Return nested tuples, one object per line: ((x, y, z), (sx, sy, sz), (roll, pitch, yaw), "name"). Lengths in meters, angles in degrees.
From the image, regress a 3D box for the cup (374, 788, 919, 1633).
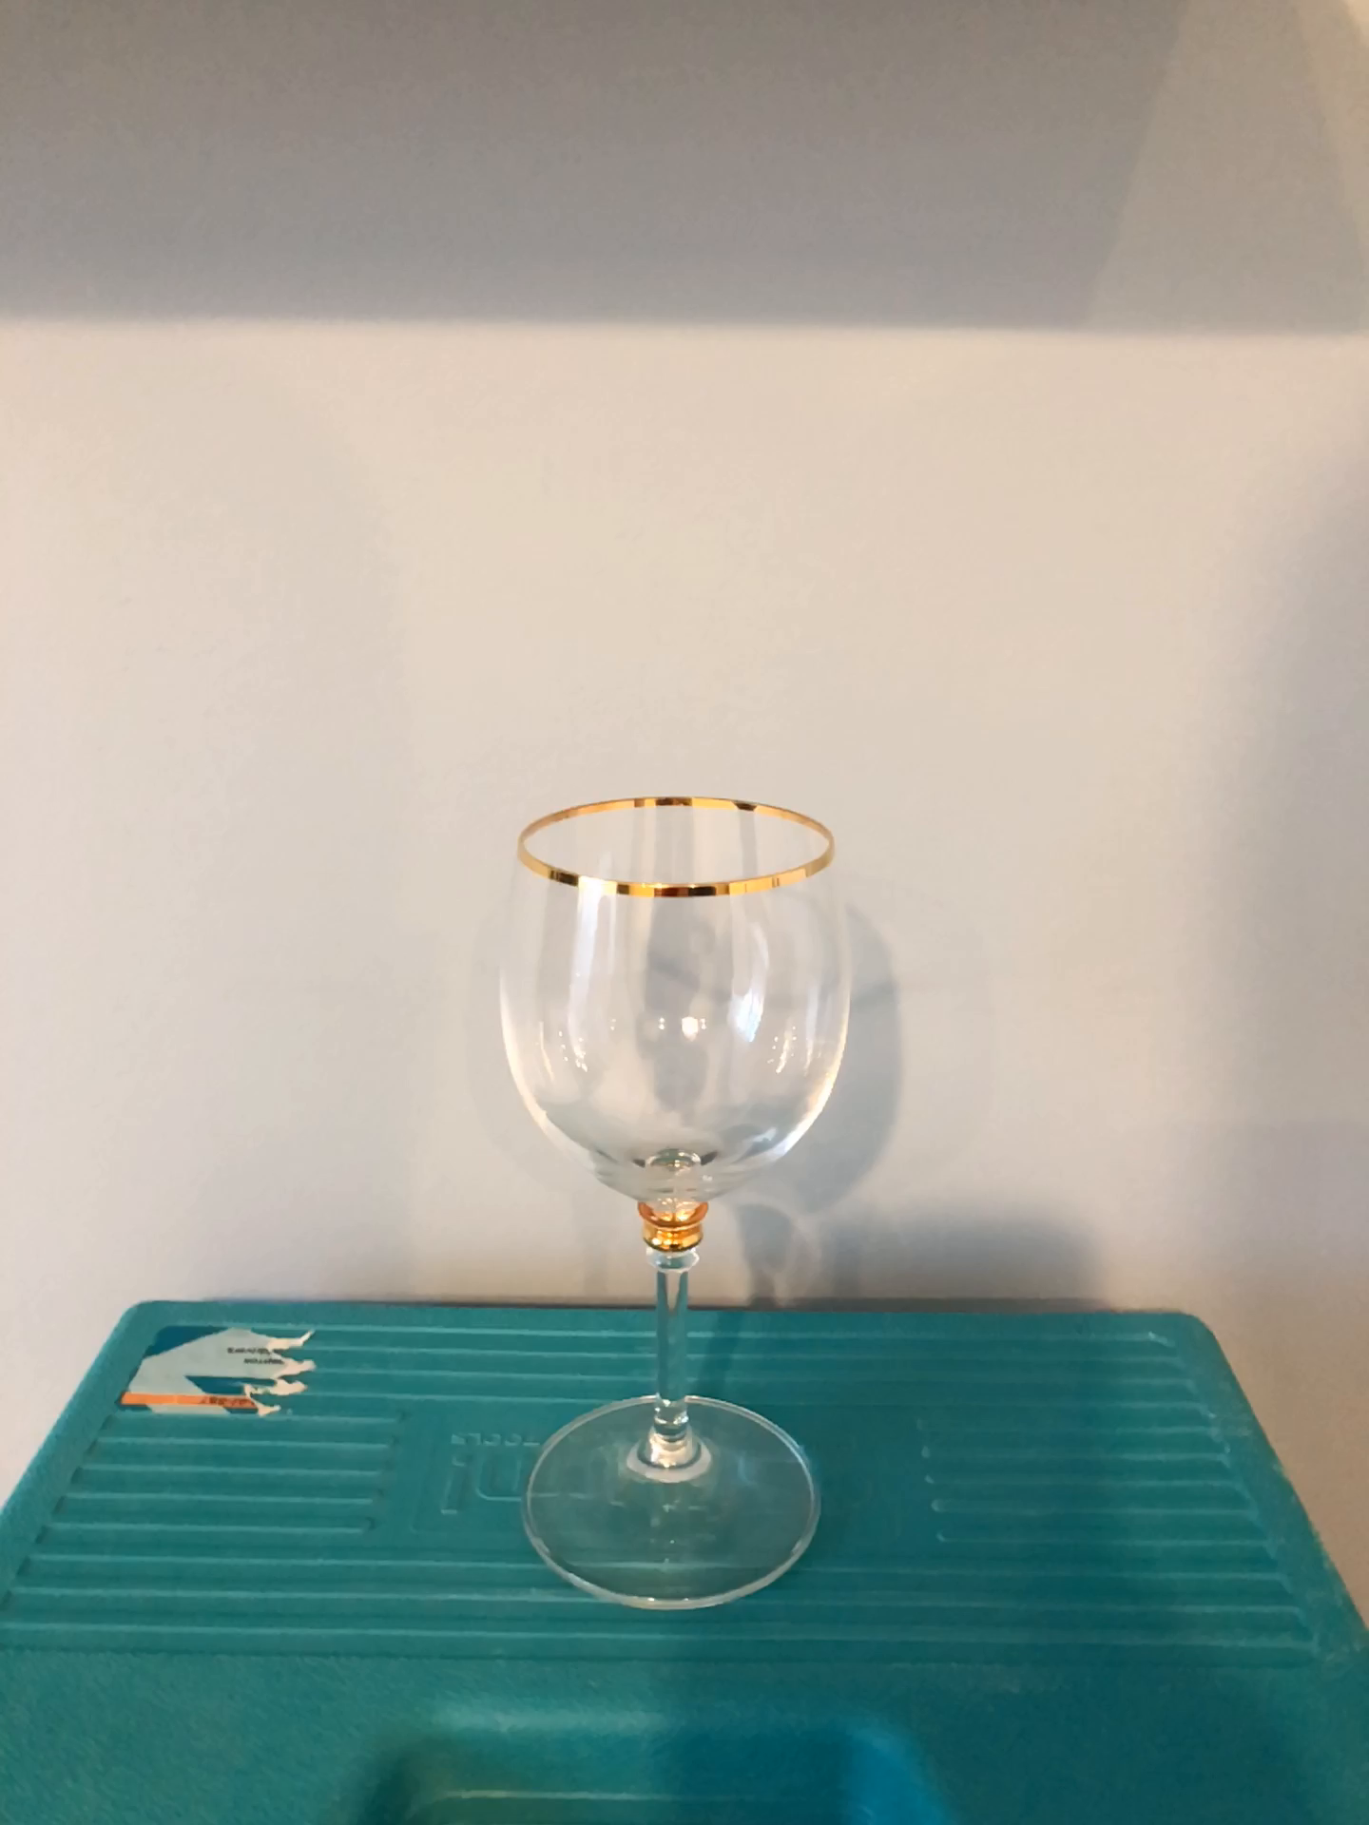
((-0.005, 0.062, 0.349), (0.100, 0.159, 0.101), (0, 19, 0), "cup")
